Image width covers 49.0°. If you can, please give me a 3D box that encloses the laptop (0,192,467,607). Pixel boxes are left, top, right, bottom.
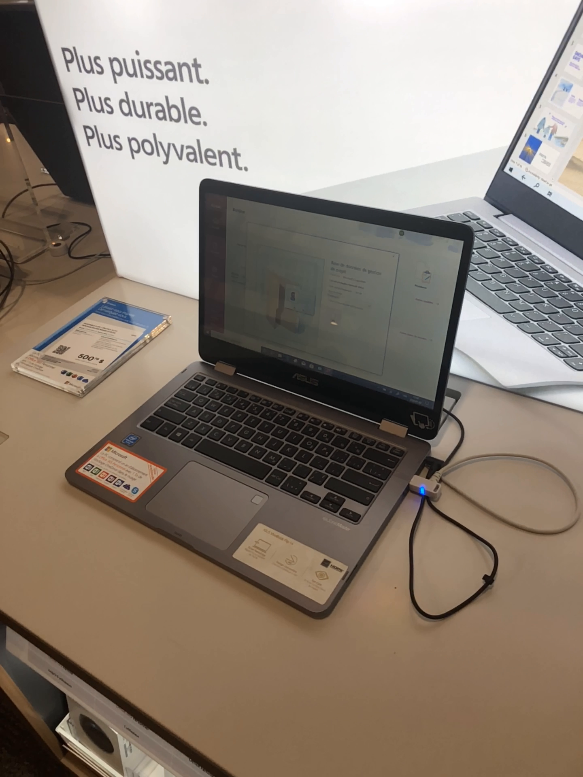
[{"bbox_3d":[-0.041,-0.019,0.622,0.312,0.214,0.273,19,45,29],"label":"laptop"}]
